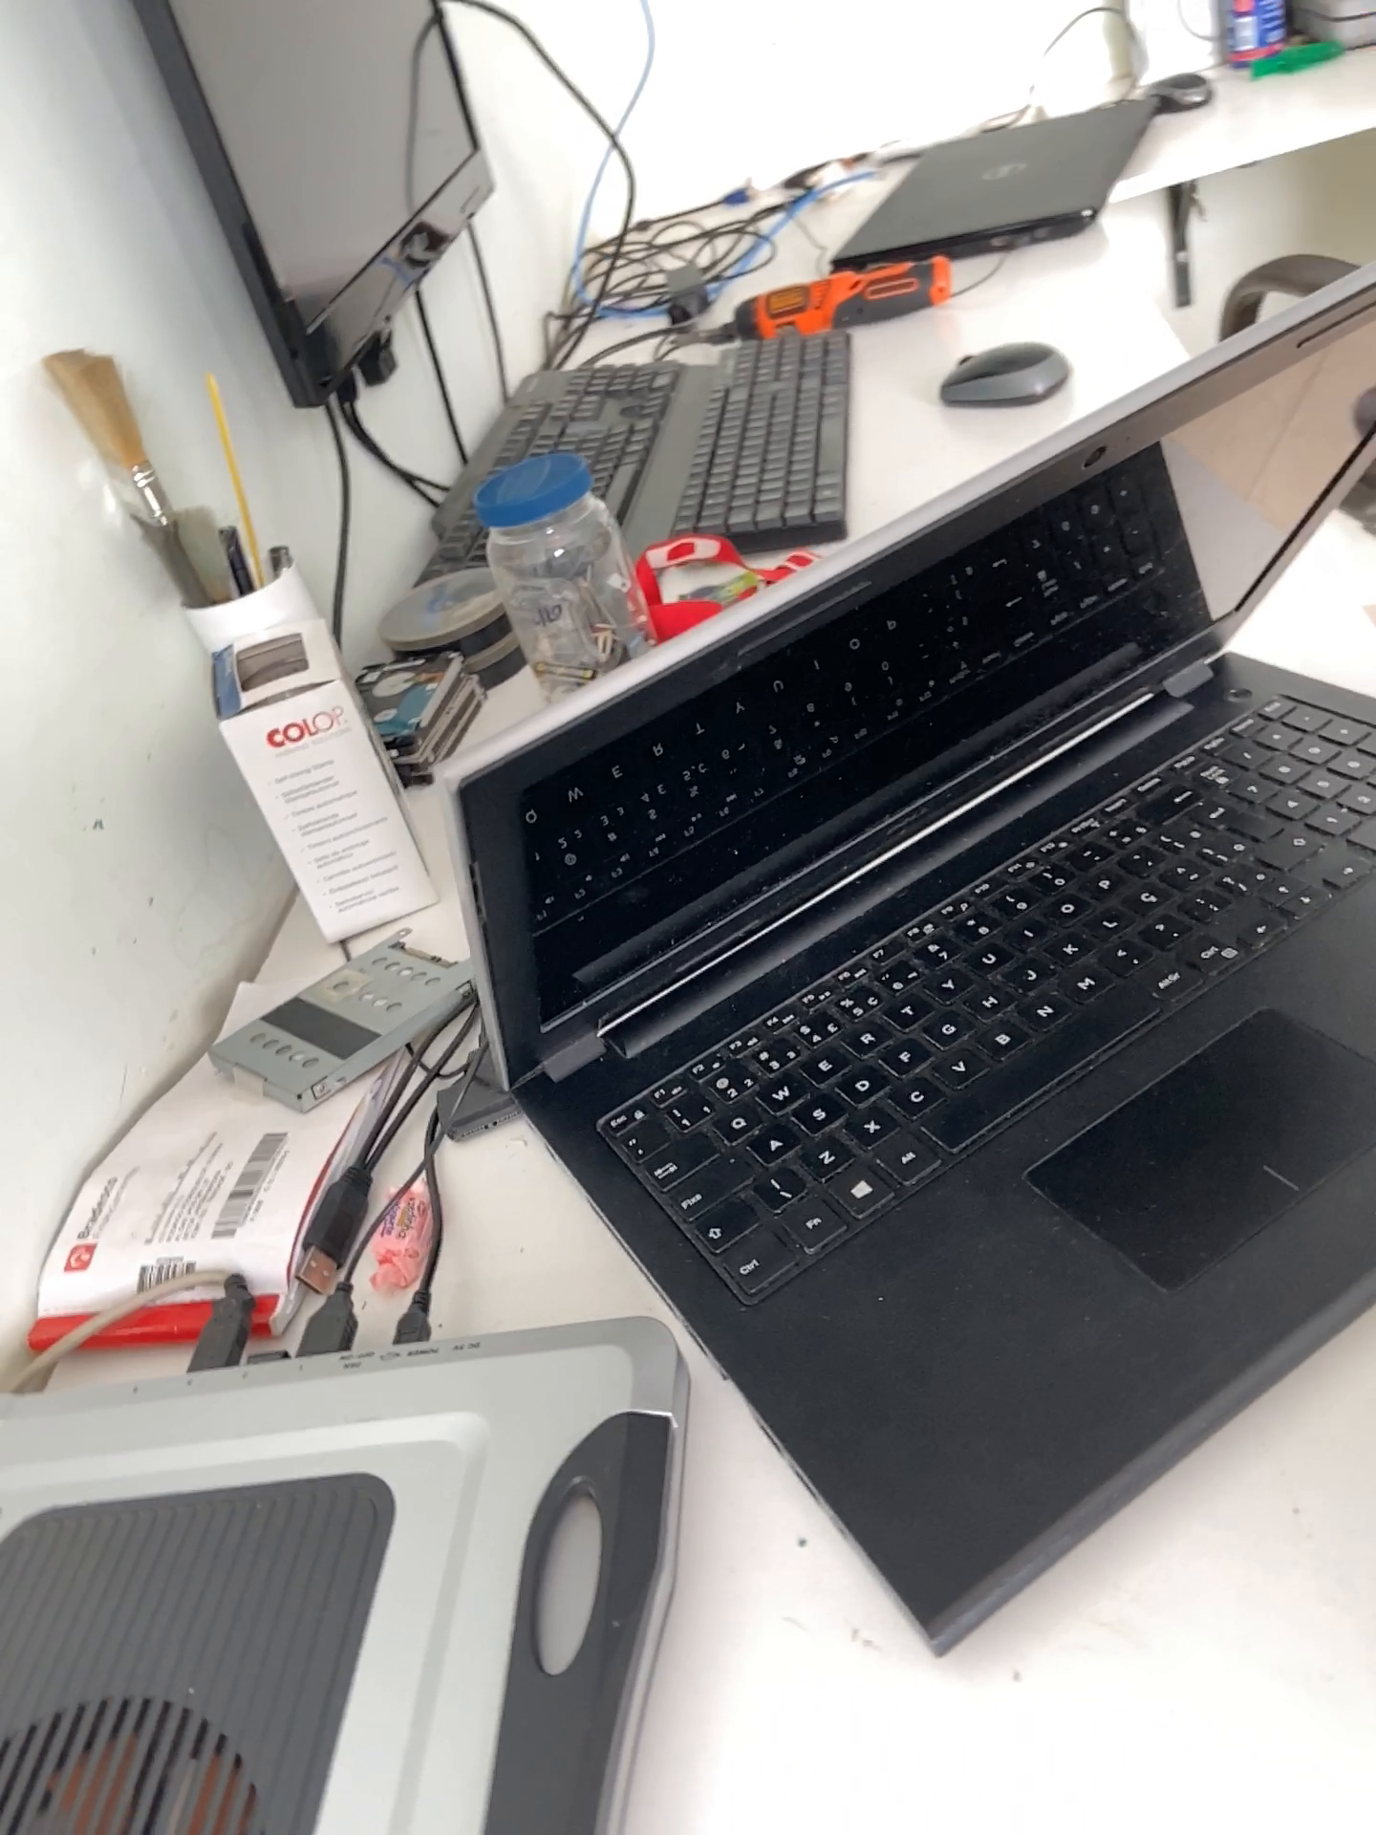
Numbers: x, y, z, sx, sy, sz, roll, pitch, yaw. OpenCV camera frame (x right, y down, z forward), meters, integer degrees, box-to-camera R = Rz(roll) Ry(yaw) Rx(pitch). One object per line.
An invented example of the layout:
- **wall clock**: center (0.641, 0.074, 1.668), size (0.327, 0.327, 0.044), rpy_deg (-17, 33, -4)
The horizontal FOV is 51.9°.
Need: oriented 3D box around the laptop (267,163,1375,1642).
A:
- **laptop**: center (0.121, -0.053, 0.427), size (0.374, 0.204, 0.258), rpy_deg (-31, 36, -16)
